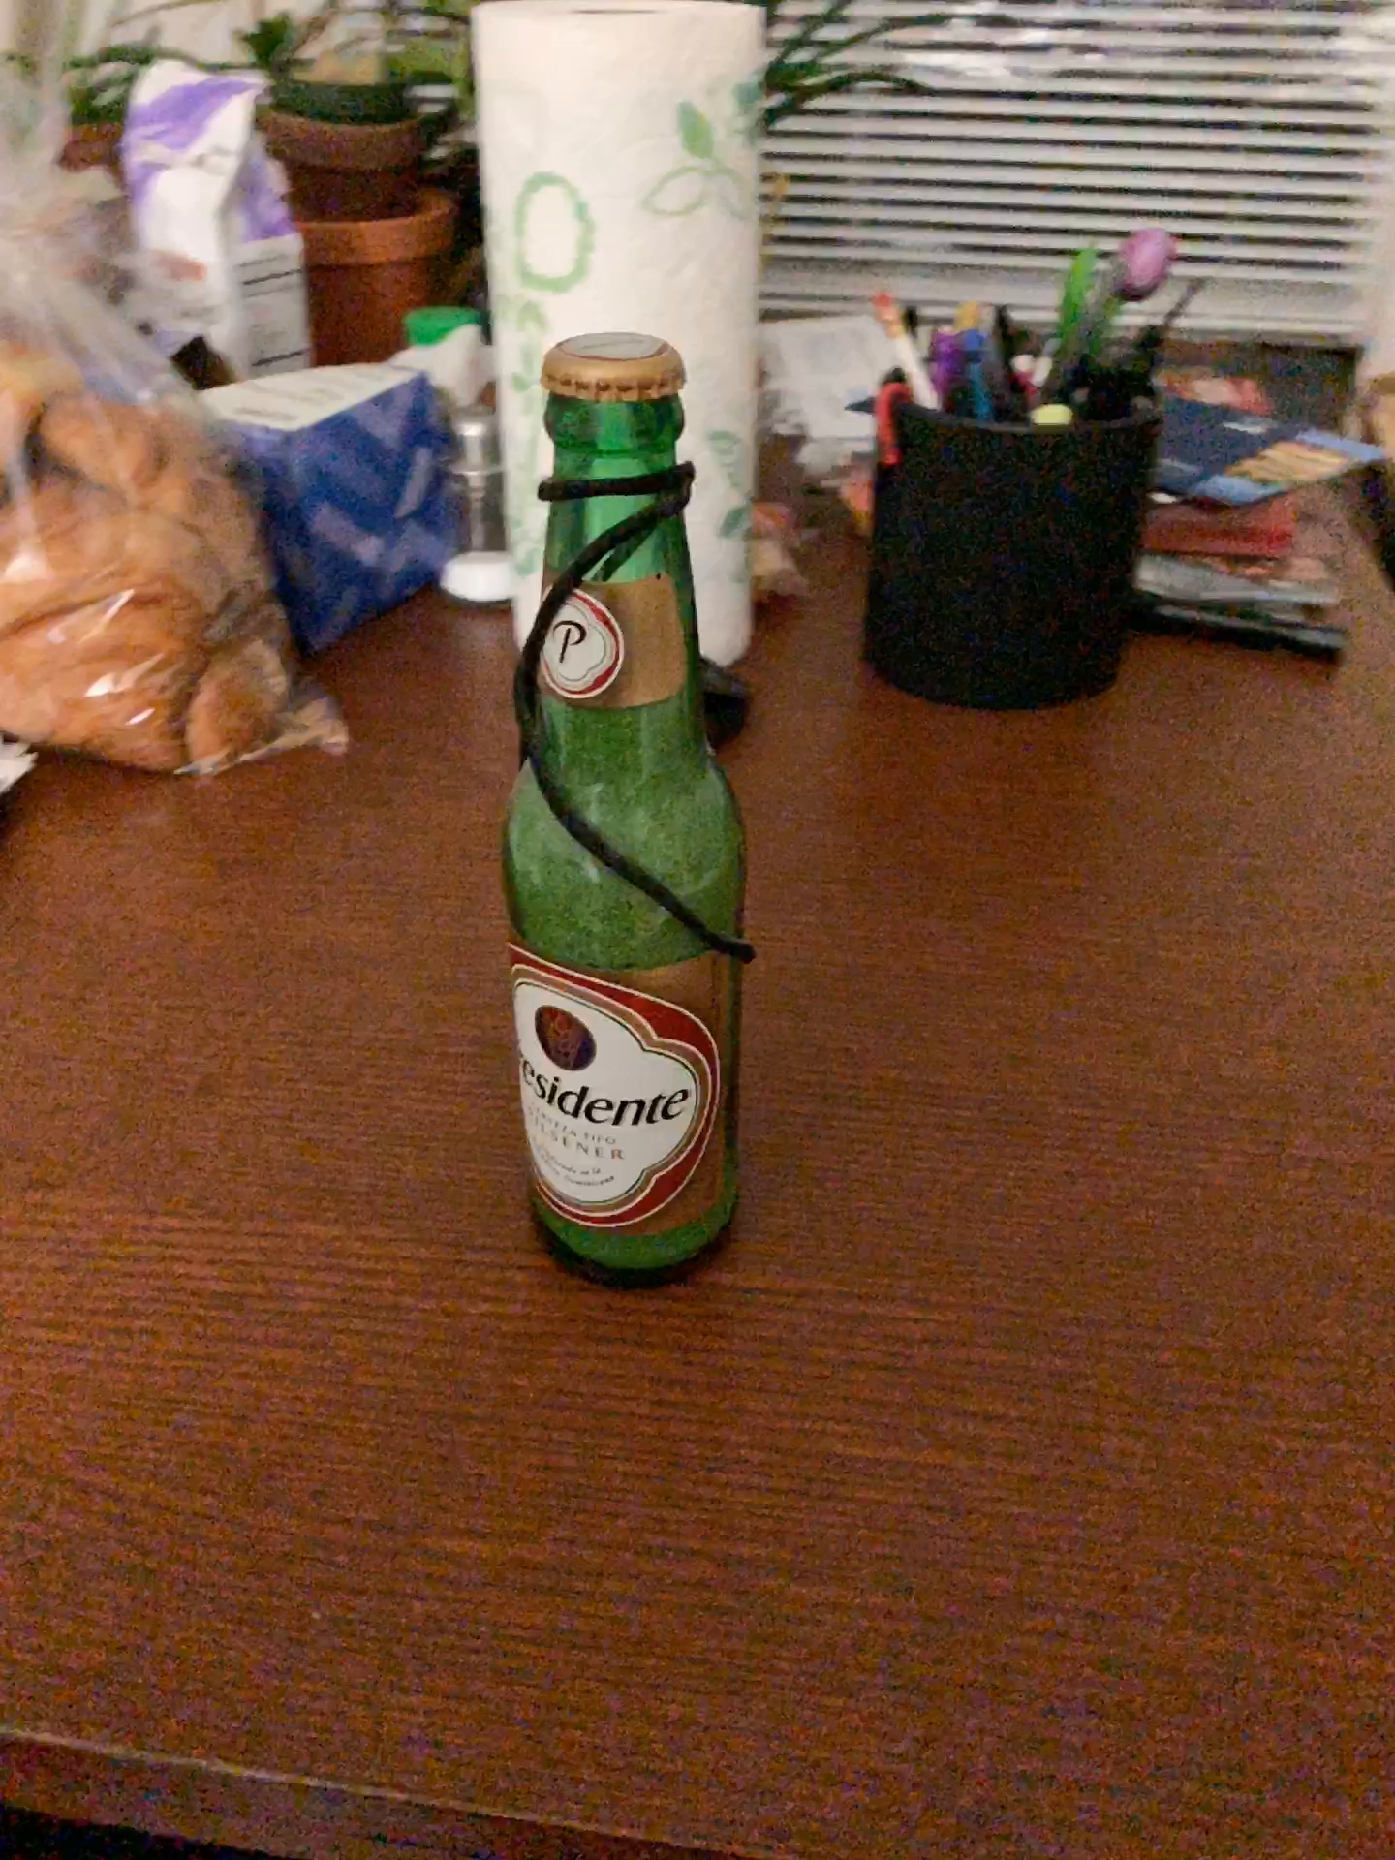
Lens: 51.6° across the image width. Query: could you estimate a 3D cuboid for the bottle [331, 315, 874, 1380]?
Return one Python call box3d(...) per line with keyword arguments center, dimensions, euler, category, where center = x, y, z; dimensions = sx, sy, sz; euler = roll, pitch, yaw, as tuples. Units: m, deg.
box3d(center=(-0.018, -0.010, 0.350), dimensions=(0.080, 0.239, 0.070), euler=(21, 40, 26), category="bottle")
